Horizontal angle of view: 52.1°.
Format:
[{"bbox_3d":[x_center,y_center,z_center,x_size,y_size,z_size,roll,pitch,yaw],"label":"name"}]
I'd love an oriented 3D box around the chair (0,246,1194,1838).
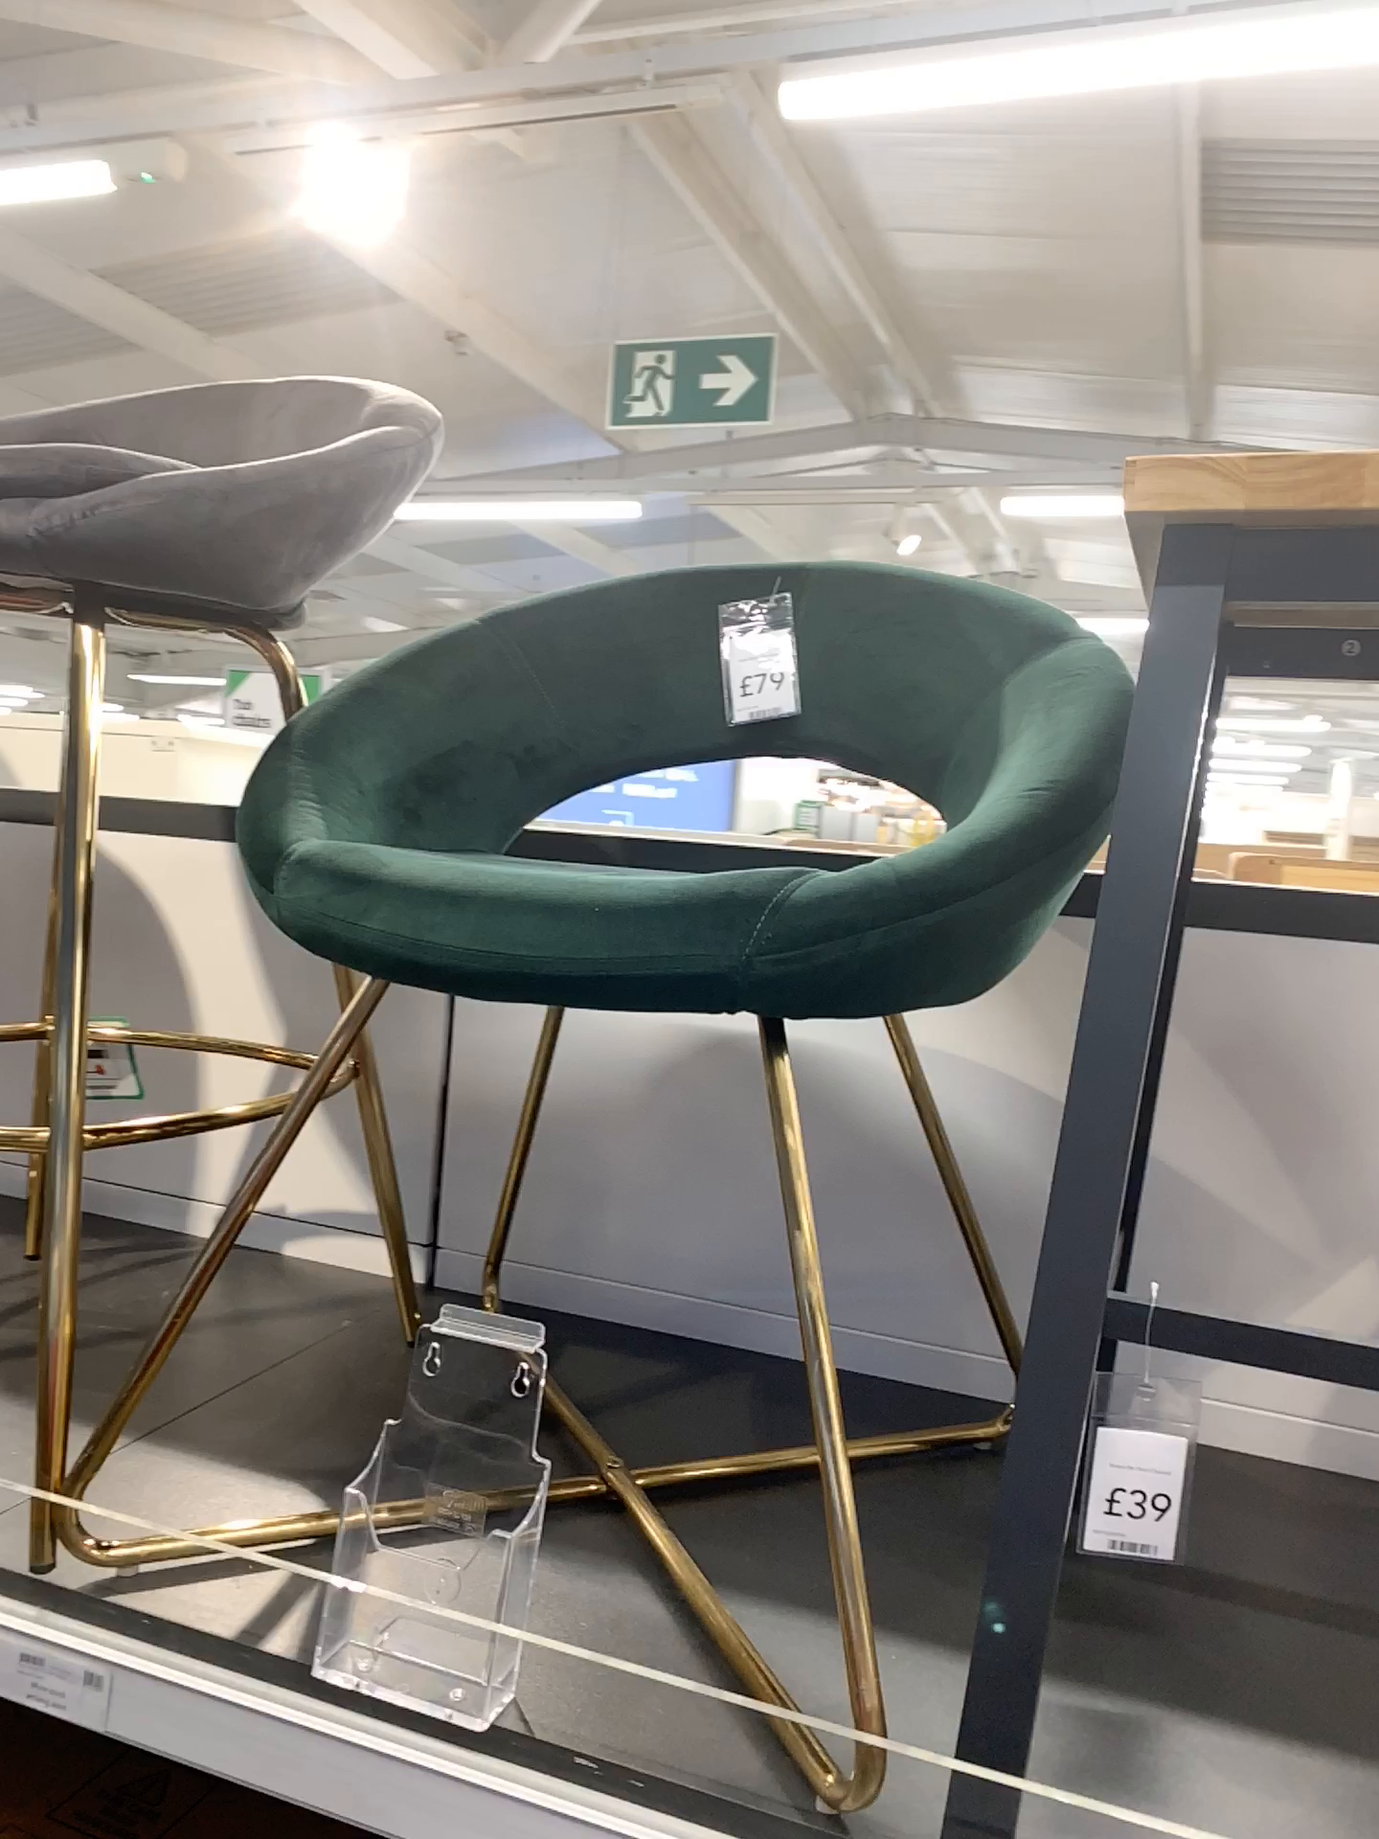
[{"bbox_3d":[-0.013,0.030,1.024,0.634,0.700,0.669,6,3,22],"label":"chair"}]
